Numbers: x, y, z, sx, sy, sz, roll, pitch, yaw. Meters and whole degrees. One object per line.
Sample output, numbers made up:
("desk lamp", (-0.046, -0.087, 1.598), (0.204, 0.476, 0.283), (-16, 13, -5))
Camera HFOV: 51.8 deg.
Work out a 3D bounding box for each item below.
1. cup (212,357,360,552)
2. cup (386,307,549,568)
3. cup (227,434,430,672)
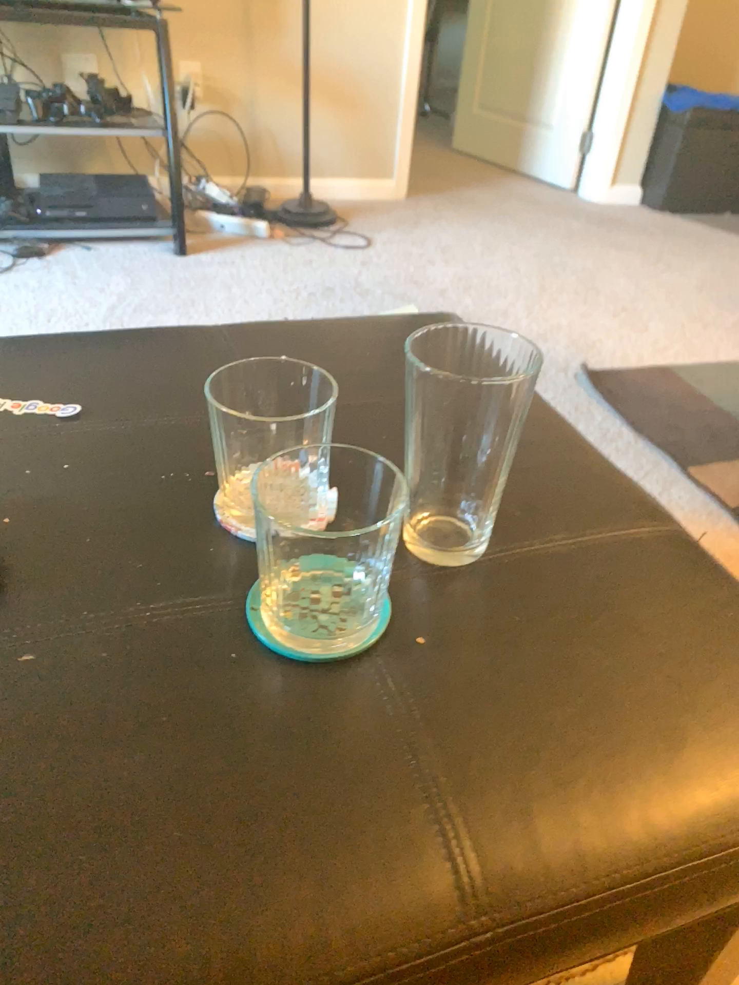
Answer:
("cup", (-0.060, -0.029, 0.568), (0.090, 0.109, 0.080), (7, 35, 2))
("cup", (0.061, -0.037, 0.509), (0.080, 0.139, 0.091), (7, 35, 2))
("cup", (-0.021, 0.033, 0.445), (0.100, 0.089, 0.091), (7, 35, 2))
